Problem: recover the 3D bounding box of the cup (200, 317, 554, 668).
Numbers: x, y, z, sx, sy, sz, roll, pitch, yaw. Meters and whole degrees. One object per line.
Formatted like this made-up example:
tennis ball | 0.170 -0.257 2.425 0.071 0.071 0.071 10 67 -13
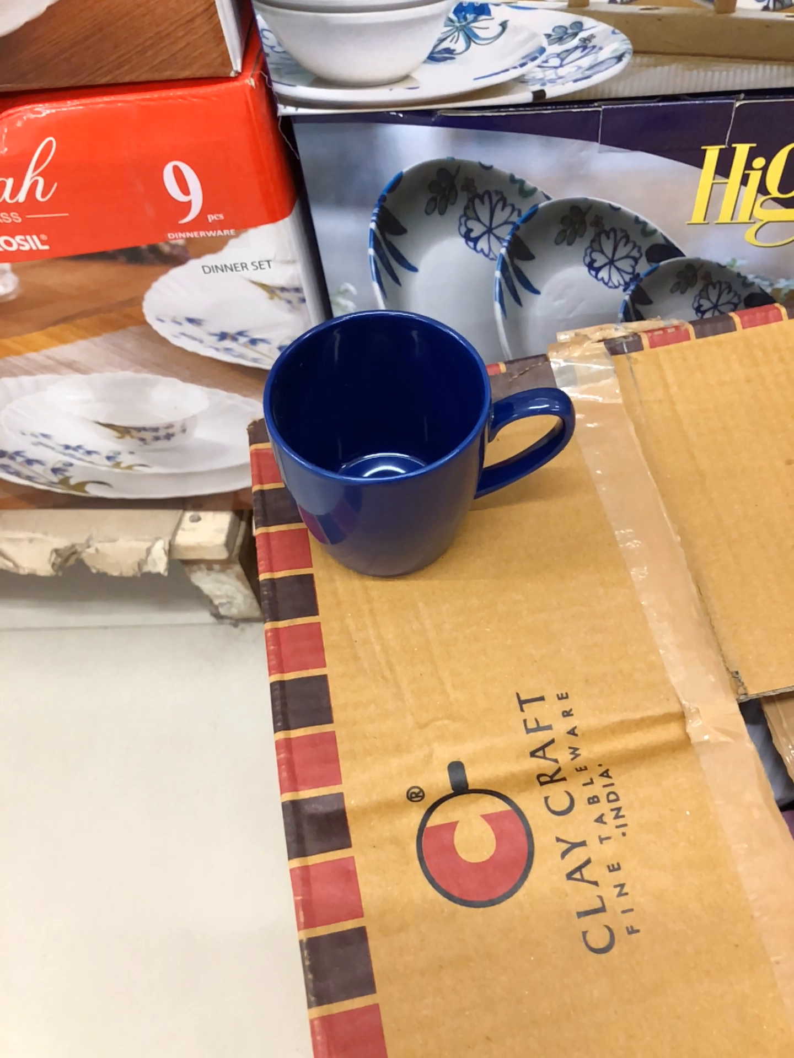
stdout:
cup | -0.005 -0.010 0.298 0.100 0.080 0.070 -9 54 1
